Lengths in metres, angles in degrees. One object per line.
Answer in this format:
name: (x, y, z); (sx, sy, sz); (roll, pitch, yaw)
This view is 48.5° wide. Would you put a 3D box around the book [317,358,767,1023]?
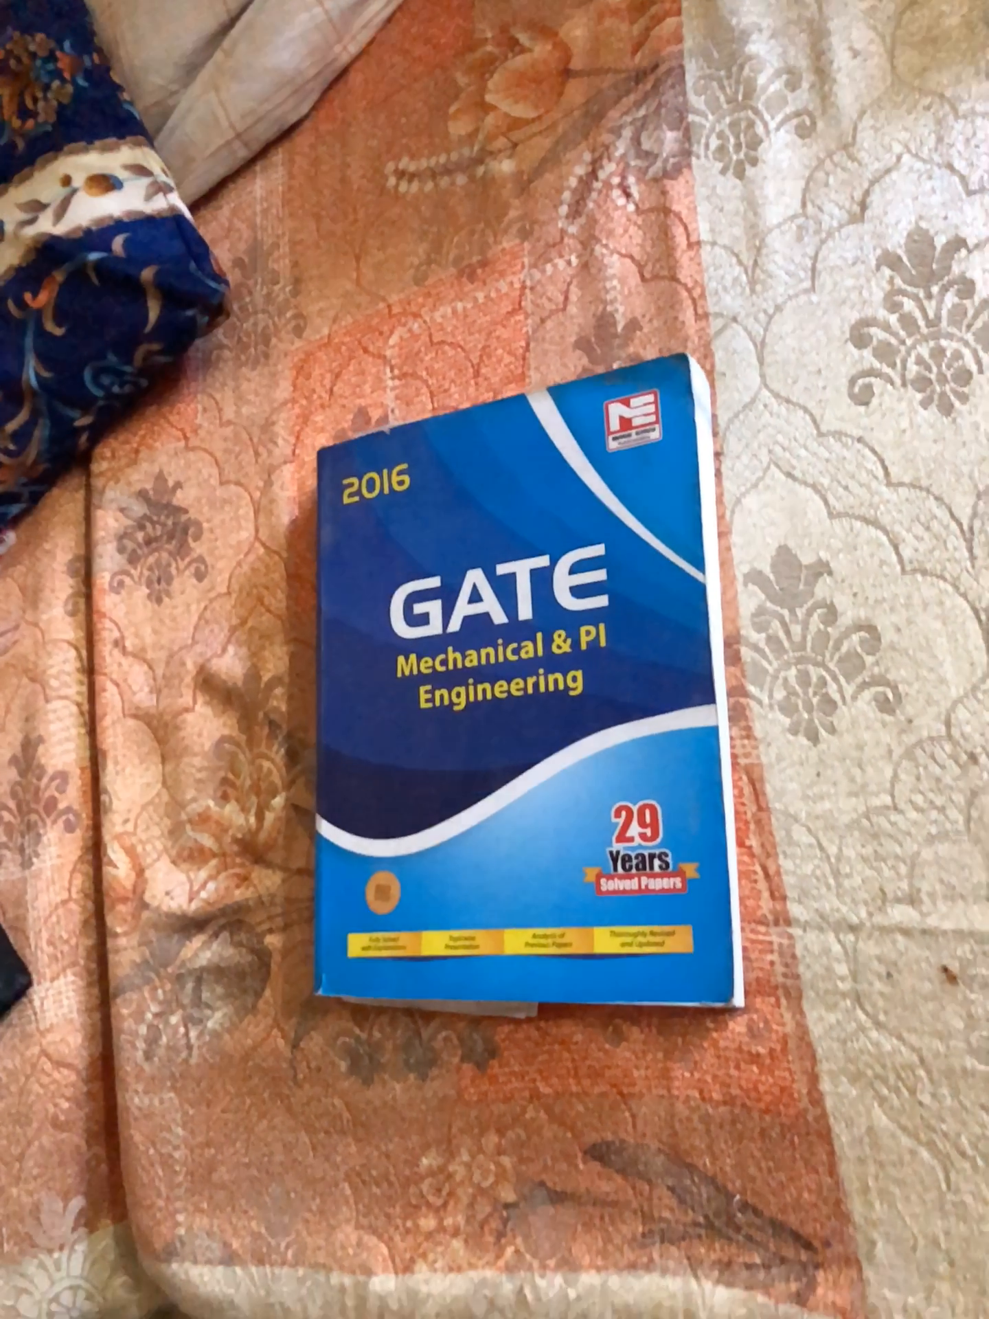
book: (0.015, 0.020, 0.523); (0.201, 0.051, 0.280); (-7, 76, 28)
